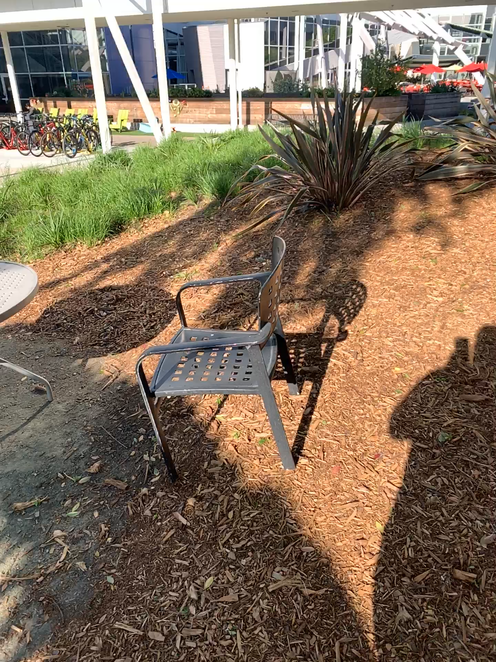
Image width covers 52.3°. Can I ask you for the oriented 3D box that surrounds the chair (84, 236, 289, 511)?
[{"bbox_3d":[-0.145,0.113,1.705,0.500,0.716,0.523,4,27,9],"label":"chair"}]
